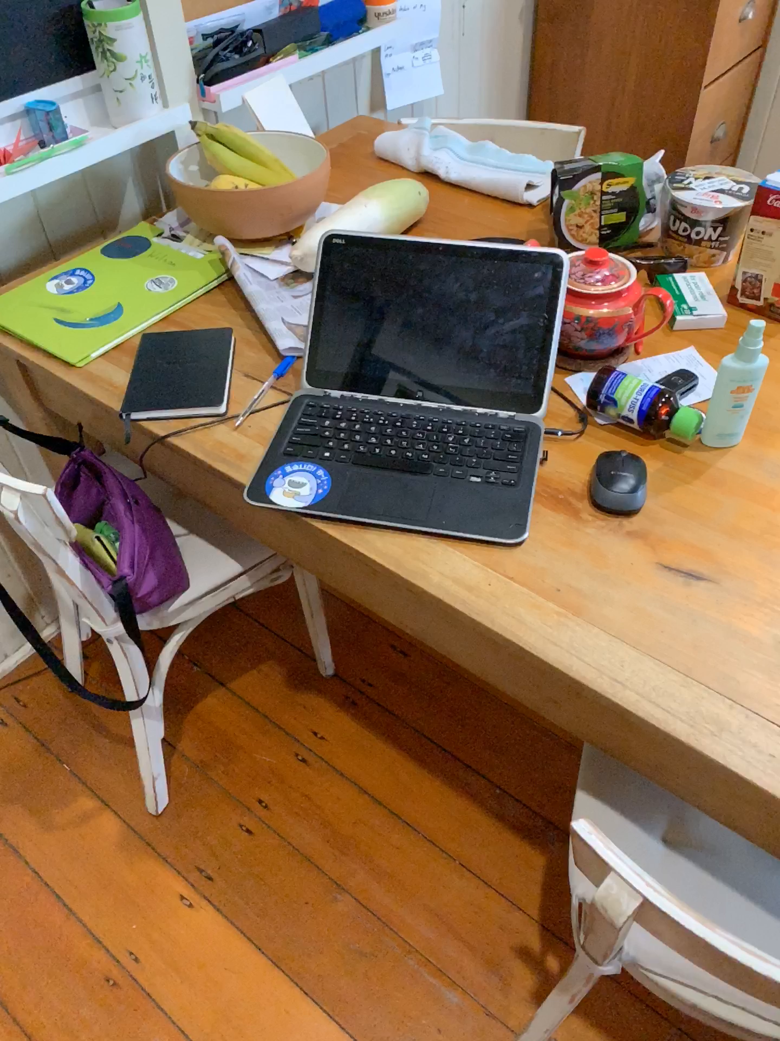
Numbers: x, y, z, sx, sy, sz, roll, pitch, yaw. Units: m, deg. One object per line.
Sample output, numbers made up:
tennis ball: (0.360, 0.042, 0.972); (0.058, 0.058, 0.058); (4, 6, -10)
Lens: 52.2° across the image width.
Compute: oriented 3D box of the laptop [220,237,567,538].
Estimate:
laptop: (0.026, -0.169, 0.911); (0.303, 0.139, 0.340); (8, 47, 10)
